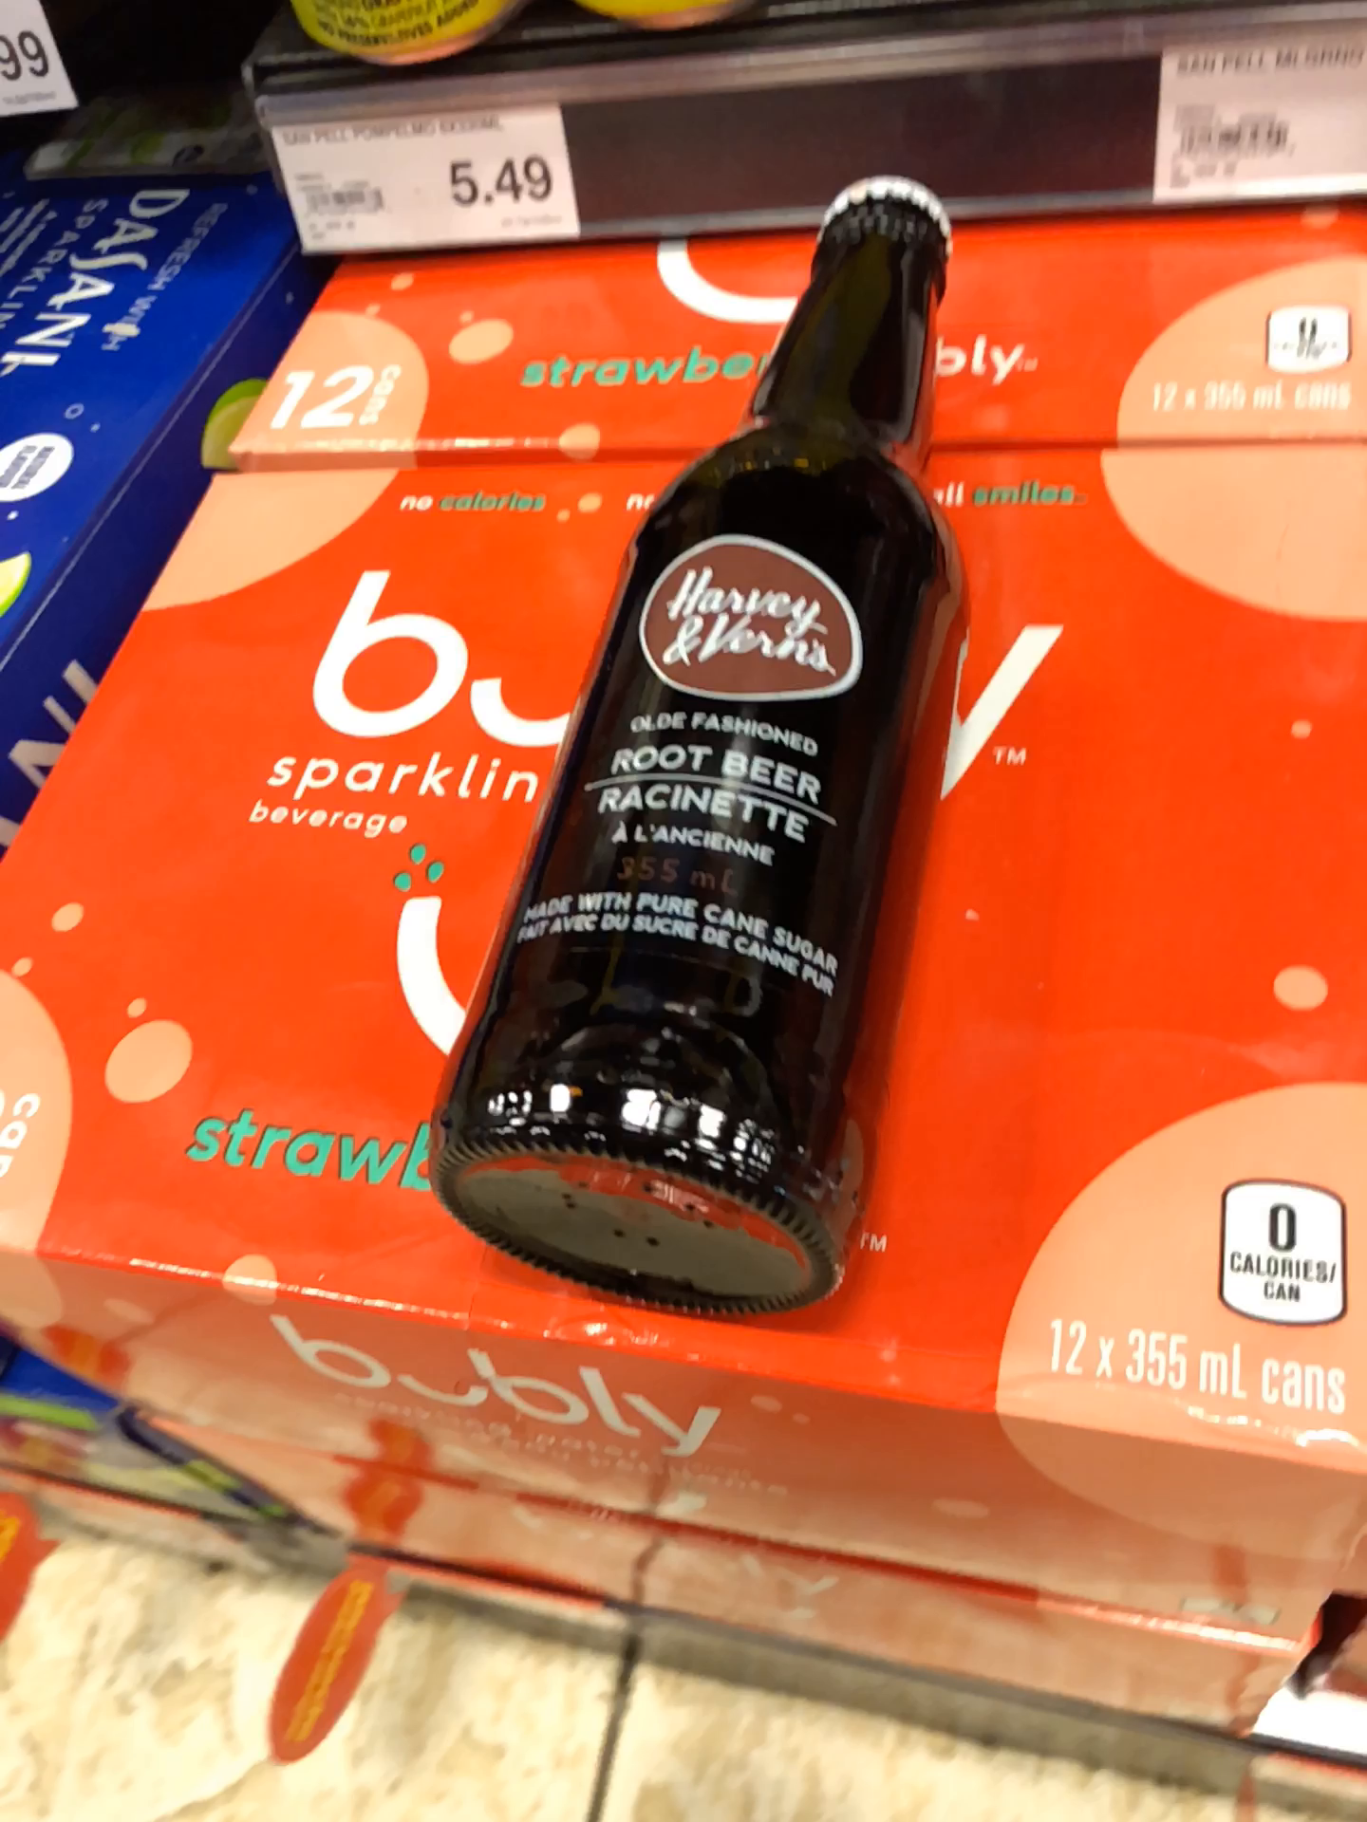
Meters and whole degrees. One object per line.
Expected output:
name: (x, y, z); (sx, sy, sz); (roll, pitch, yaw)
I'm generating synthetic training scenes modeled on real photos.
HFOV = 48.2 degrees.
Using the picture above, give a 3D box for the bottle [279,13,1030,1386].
bottle: (0.014, -0.050, 0.256); (0.060, 0.070, 0.230); (4, 58, 17)
